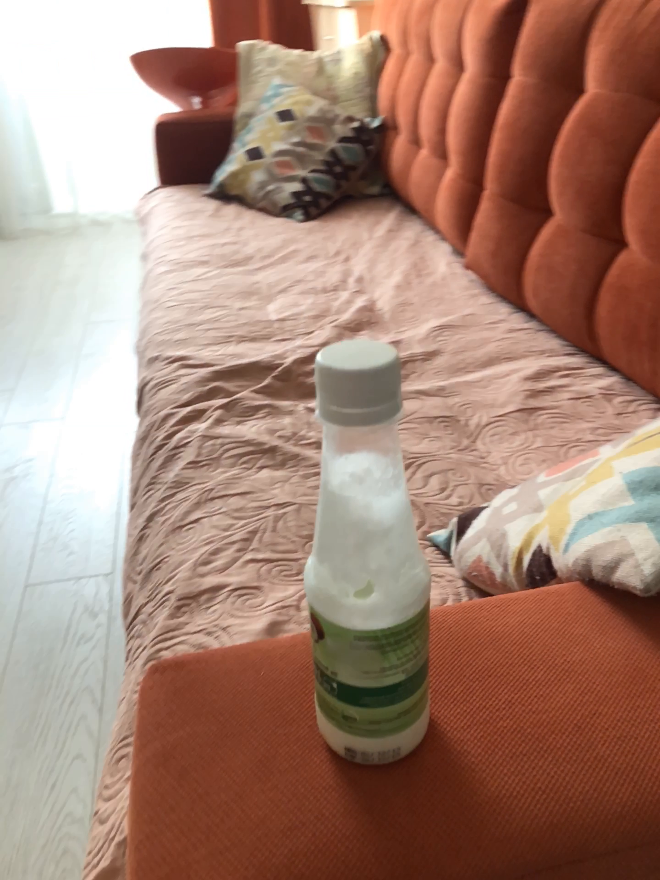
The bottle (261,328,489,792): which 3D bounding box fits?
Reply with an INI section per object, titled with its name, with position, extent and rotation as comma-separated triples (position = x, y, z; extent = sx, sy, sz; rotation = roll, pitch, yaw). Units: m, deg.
[bottle]
position = 0.016, 0.053, 0.297
extent = 0.060, 0.179, 0.060
rotation = -1, 31, 1
